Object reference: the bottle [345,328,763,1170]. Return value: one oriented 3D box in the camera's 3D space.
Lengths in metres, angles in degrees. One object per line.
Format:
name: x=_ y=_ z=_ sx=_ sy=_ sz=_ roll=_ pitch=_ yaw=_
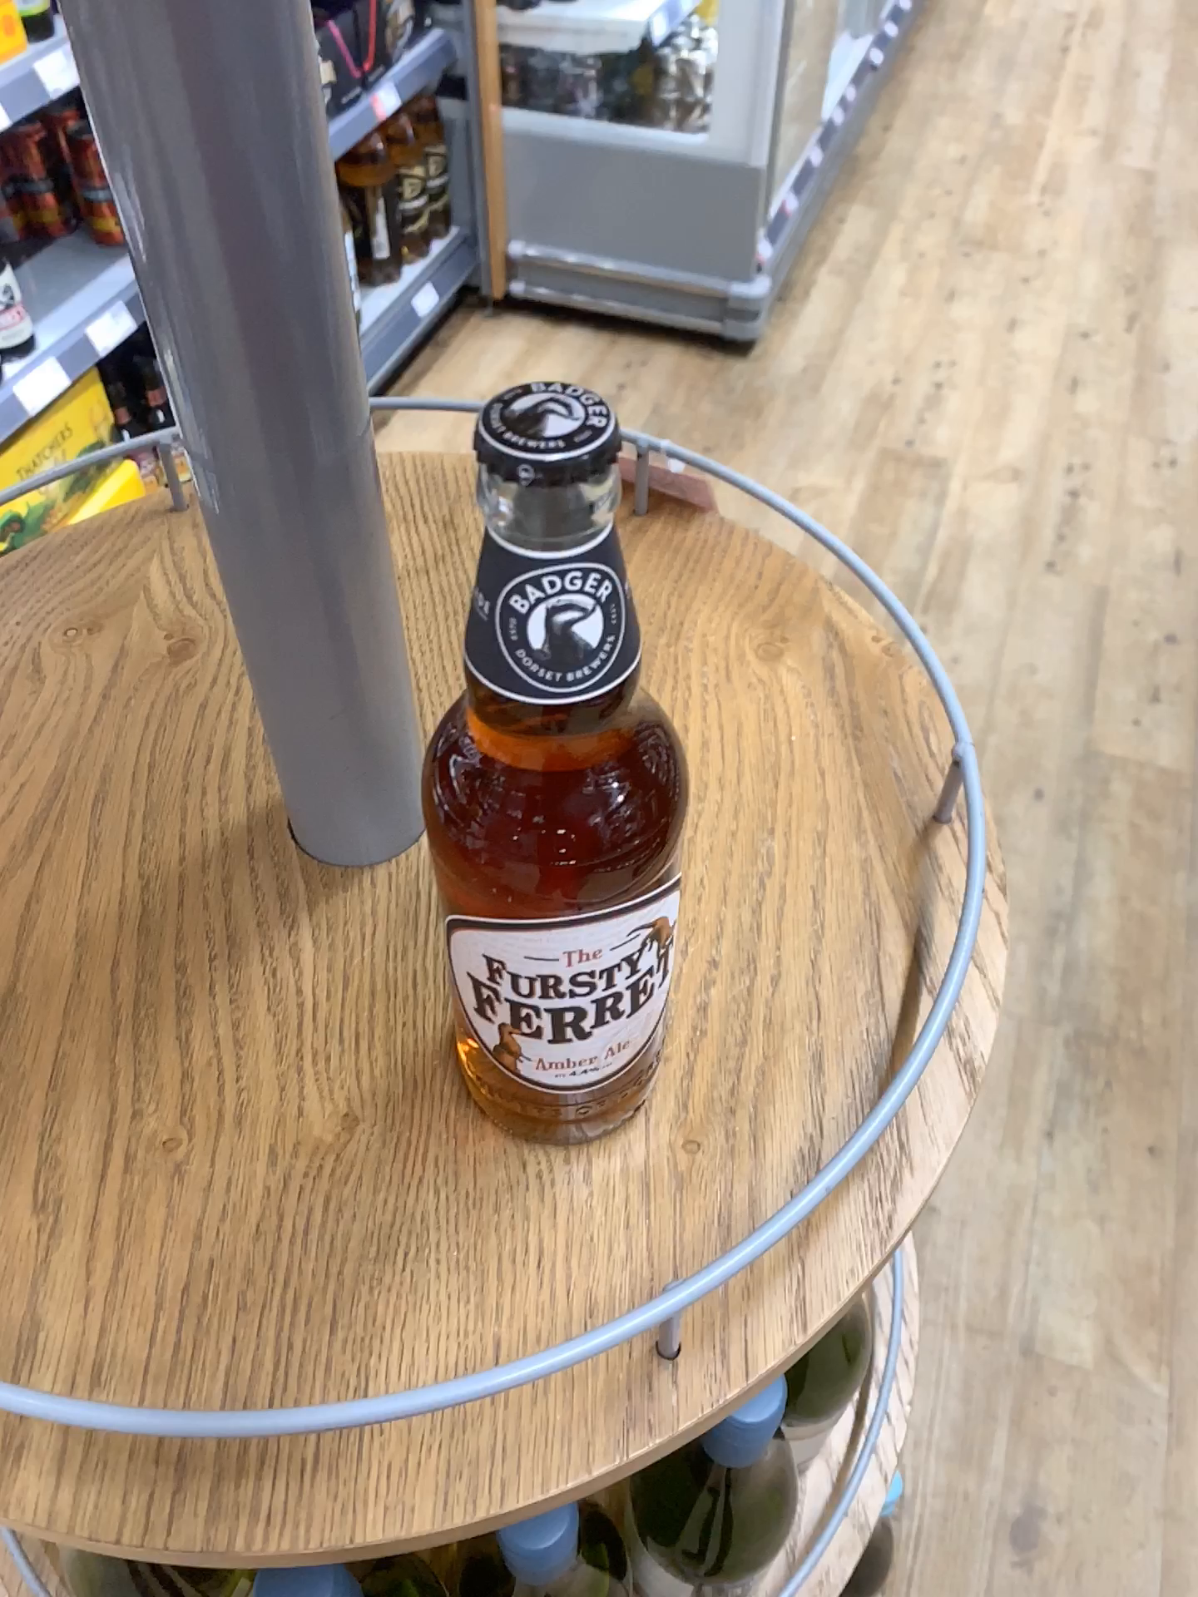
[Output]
bottle: x=-0.013 y=0.007 z=0.325 sx=0.069 sy=0.231 sz=0.076 roll=-9 pitch=50 yaw=-8
